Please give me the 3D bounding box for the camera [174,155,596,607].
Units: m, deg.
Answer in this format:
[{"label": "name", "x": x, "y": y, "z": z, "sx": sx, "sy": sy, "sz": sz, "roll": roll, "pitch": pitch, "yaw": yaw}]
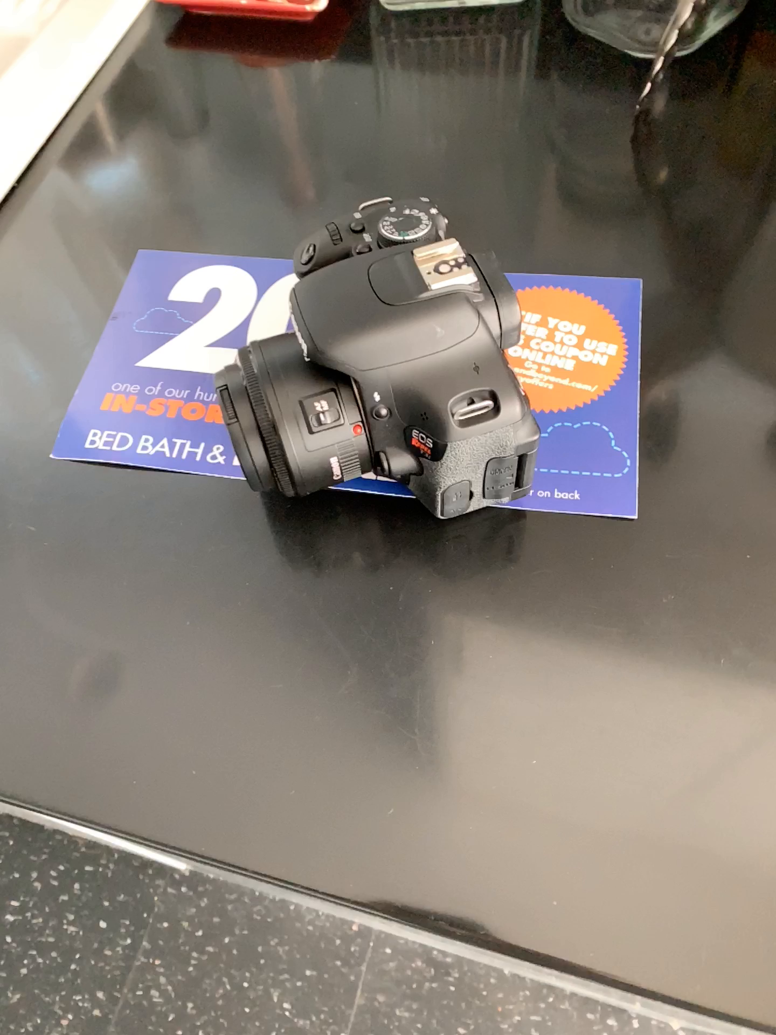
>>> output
[{"label": "camera", "x": -0.005, "y": -0.059, "z": 0.342, "sx": 0.124, "sy": 0.085, "sz": 0.140, "roll": -18, "pitch": 61, "yaw": -5}]
